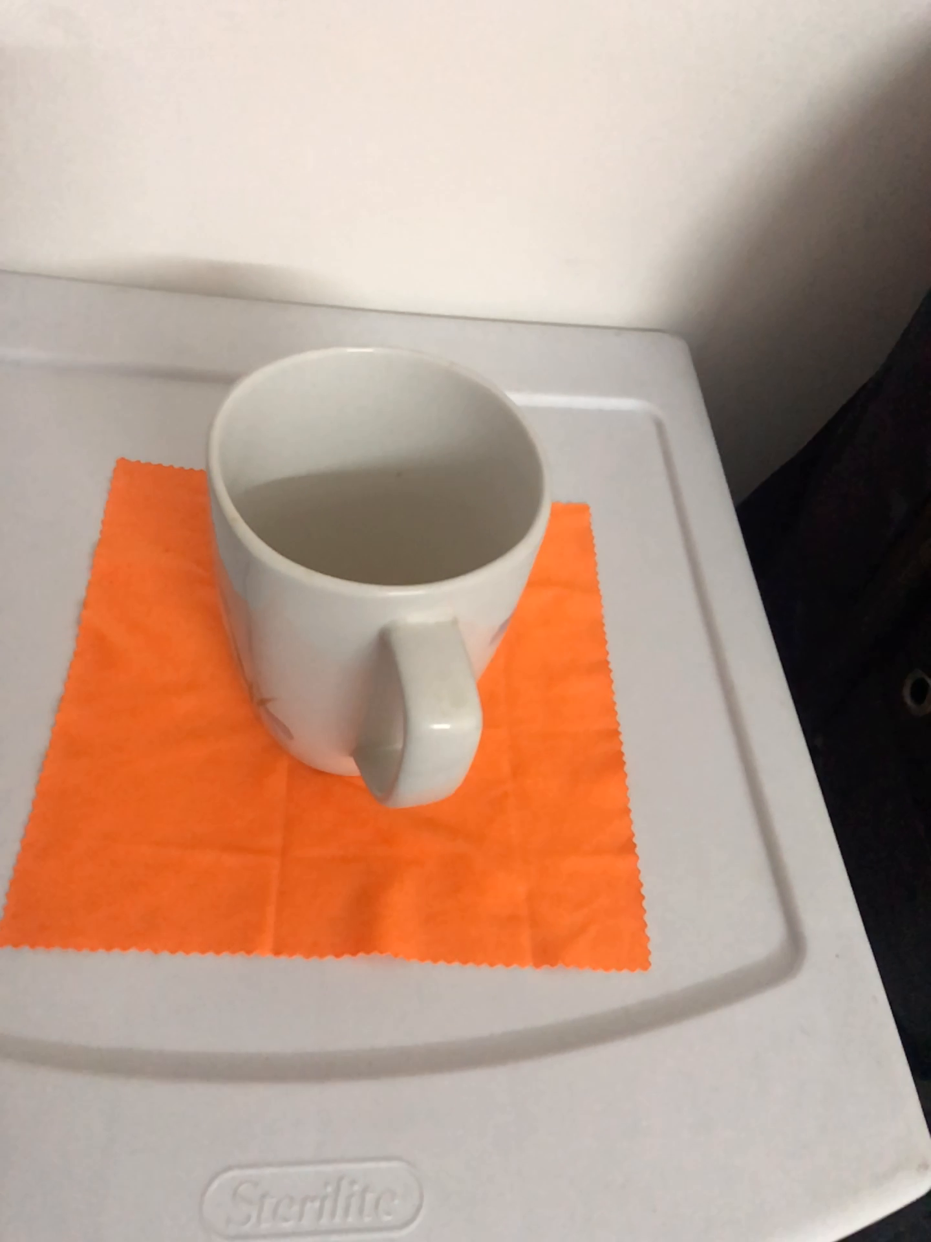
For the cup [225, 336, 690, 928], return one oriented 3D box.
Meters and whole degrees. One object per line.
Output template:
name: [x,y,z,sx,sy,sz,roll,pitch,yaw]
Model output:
cup: [-0.015,0.002,0.284,0.090,0.100,0.120,-3,54,-14]
